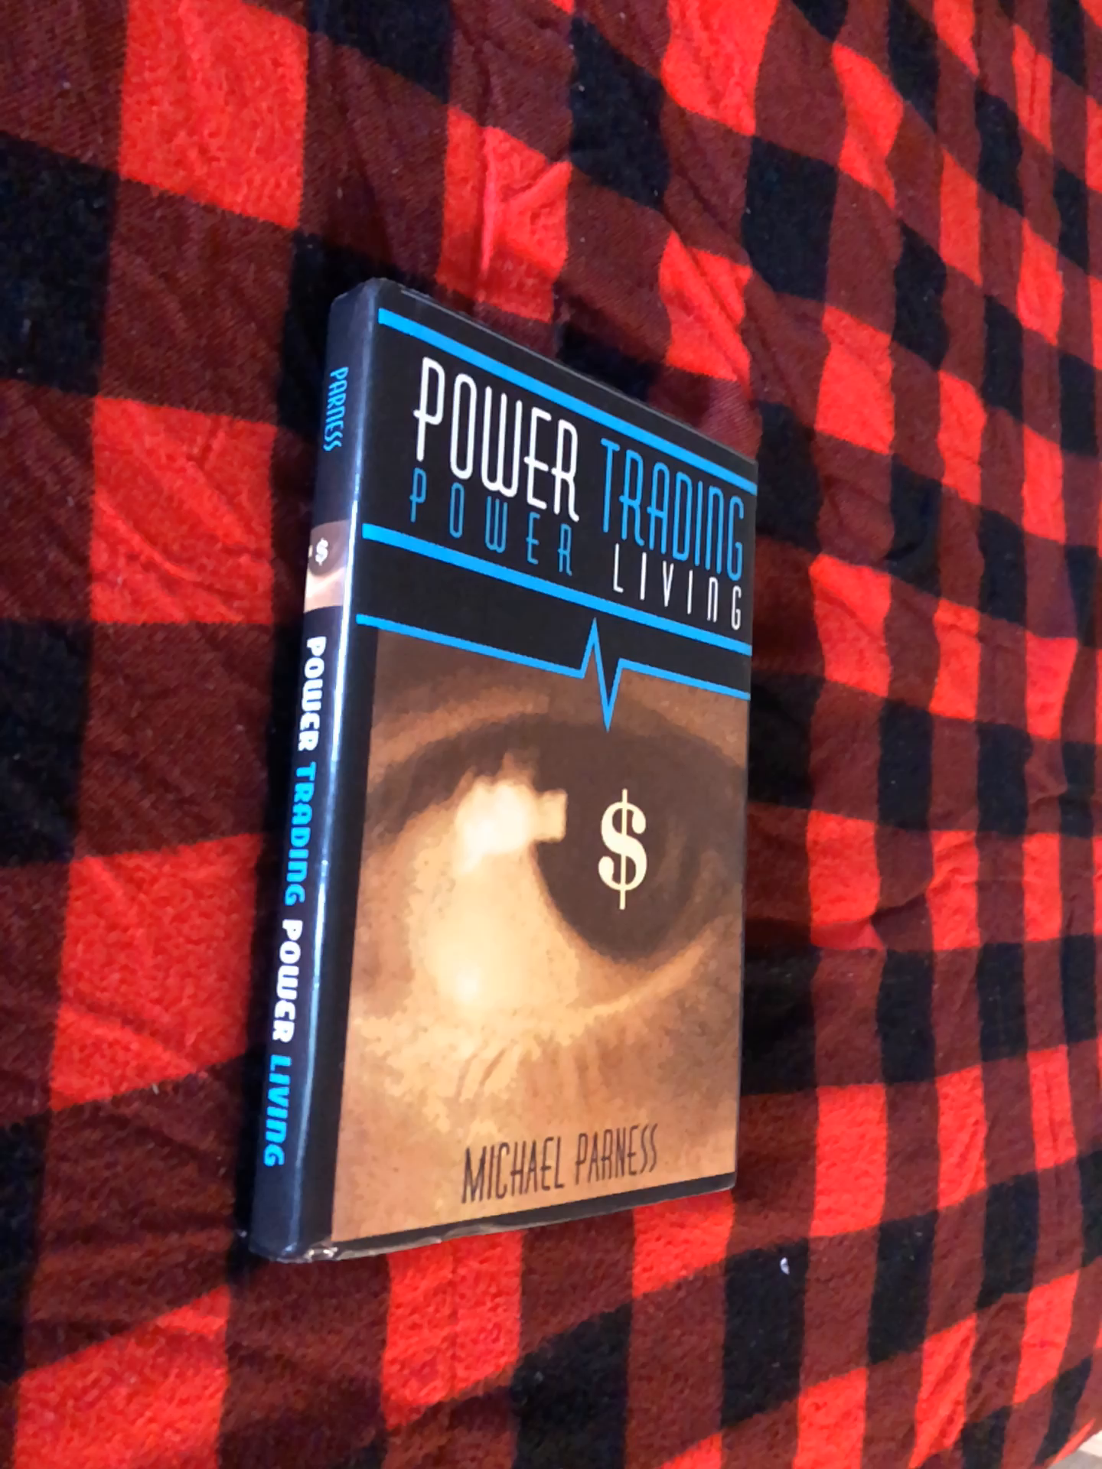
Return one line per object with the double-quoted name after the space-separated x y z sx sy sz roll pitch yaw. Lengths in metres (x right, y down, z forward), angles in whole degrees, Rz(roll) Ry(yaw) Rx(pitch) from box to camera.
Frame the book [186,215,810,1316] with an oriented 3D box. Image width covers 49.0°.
0.001 0.013 0.335 0.171 0.040 0.240 13 79 -45 "book"
